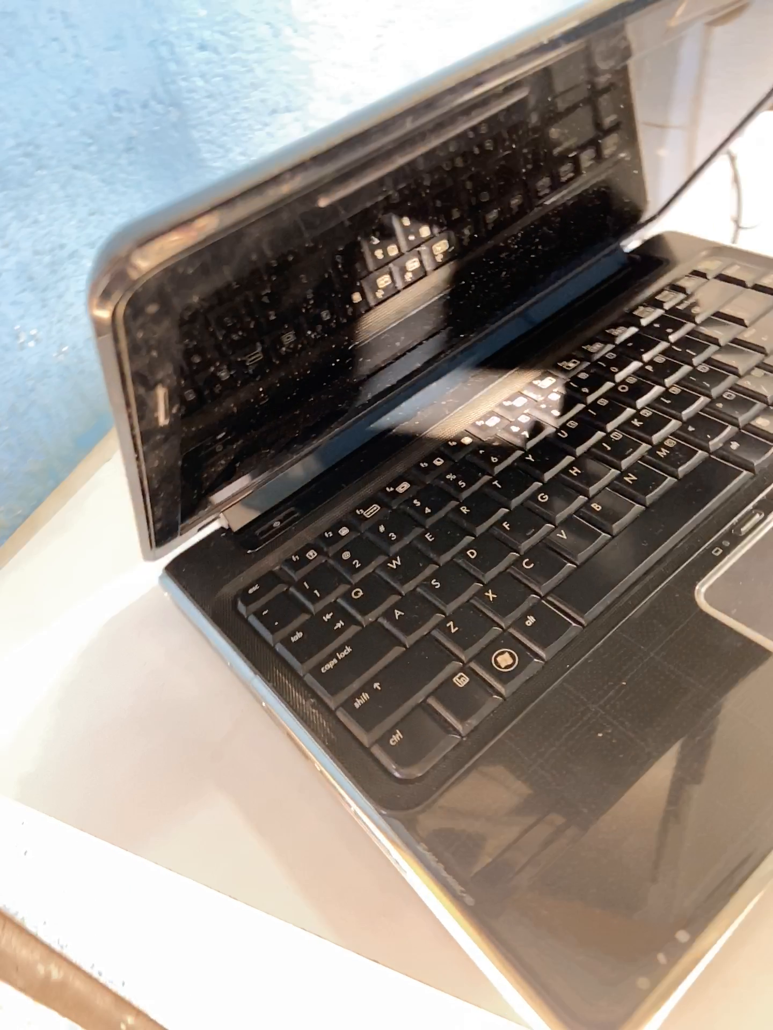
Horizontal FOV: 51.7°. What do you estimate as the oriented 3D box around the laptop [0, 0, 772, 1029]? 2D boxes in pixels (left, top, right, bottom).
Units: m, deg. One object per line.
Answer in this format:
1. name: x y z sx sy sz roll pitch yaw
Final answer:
1. laptop: 0.082 -0.077 0.256 0.325 0.165 0.226 -36 46 -20
